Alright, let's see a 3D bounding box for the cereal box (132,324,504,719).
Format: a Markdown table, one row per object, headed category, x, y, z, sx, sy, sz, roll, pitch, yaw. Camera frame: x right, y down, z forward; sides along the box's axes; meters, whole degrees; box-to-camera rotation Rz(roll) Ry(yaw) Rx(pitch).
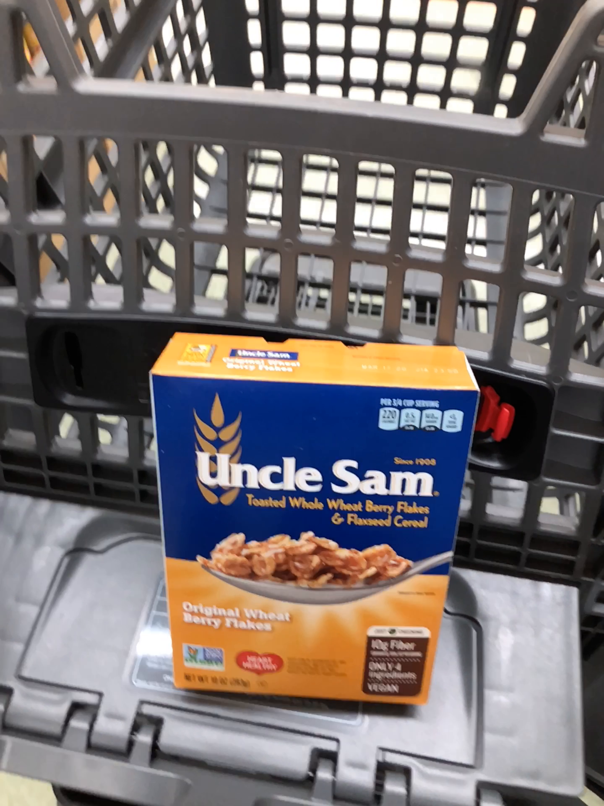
| category | x | y | z | sx | sy | sz | roll | pitch | yaw |
| --- | --- | --- | --- | --- | --- | --- | --- | --- | --- |
| cereal box | 0.005 | 0.070 | 0.358 | 0.160 | 0.210 | 0.050 | 3 | 27 | 3 |
